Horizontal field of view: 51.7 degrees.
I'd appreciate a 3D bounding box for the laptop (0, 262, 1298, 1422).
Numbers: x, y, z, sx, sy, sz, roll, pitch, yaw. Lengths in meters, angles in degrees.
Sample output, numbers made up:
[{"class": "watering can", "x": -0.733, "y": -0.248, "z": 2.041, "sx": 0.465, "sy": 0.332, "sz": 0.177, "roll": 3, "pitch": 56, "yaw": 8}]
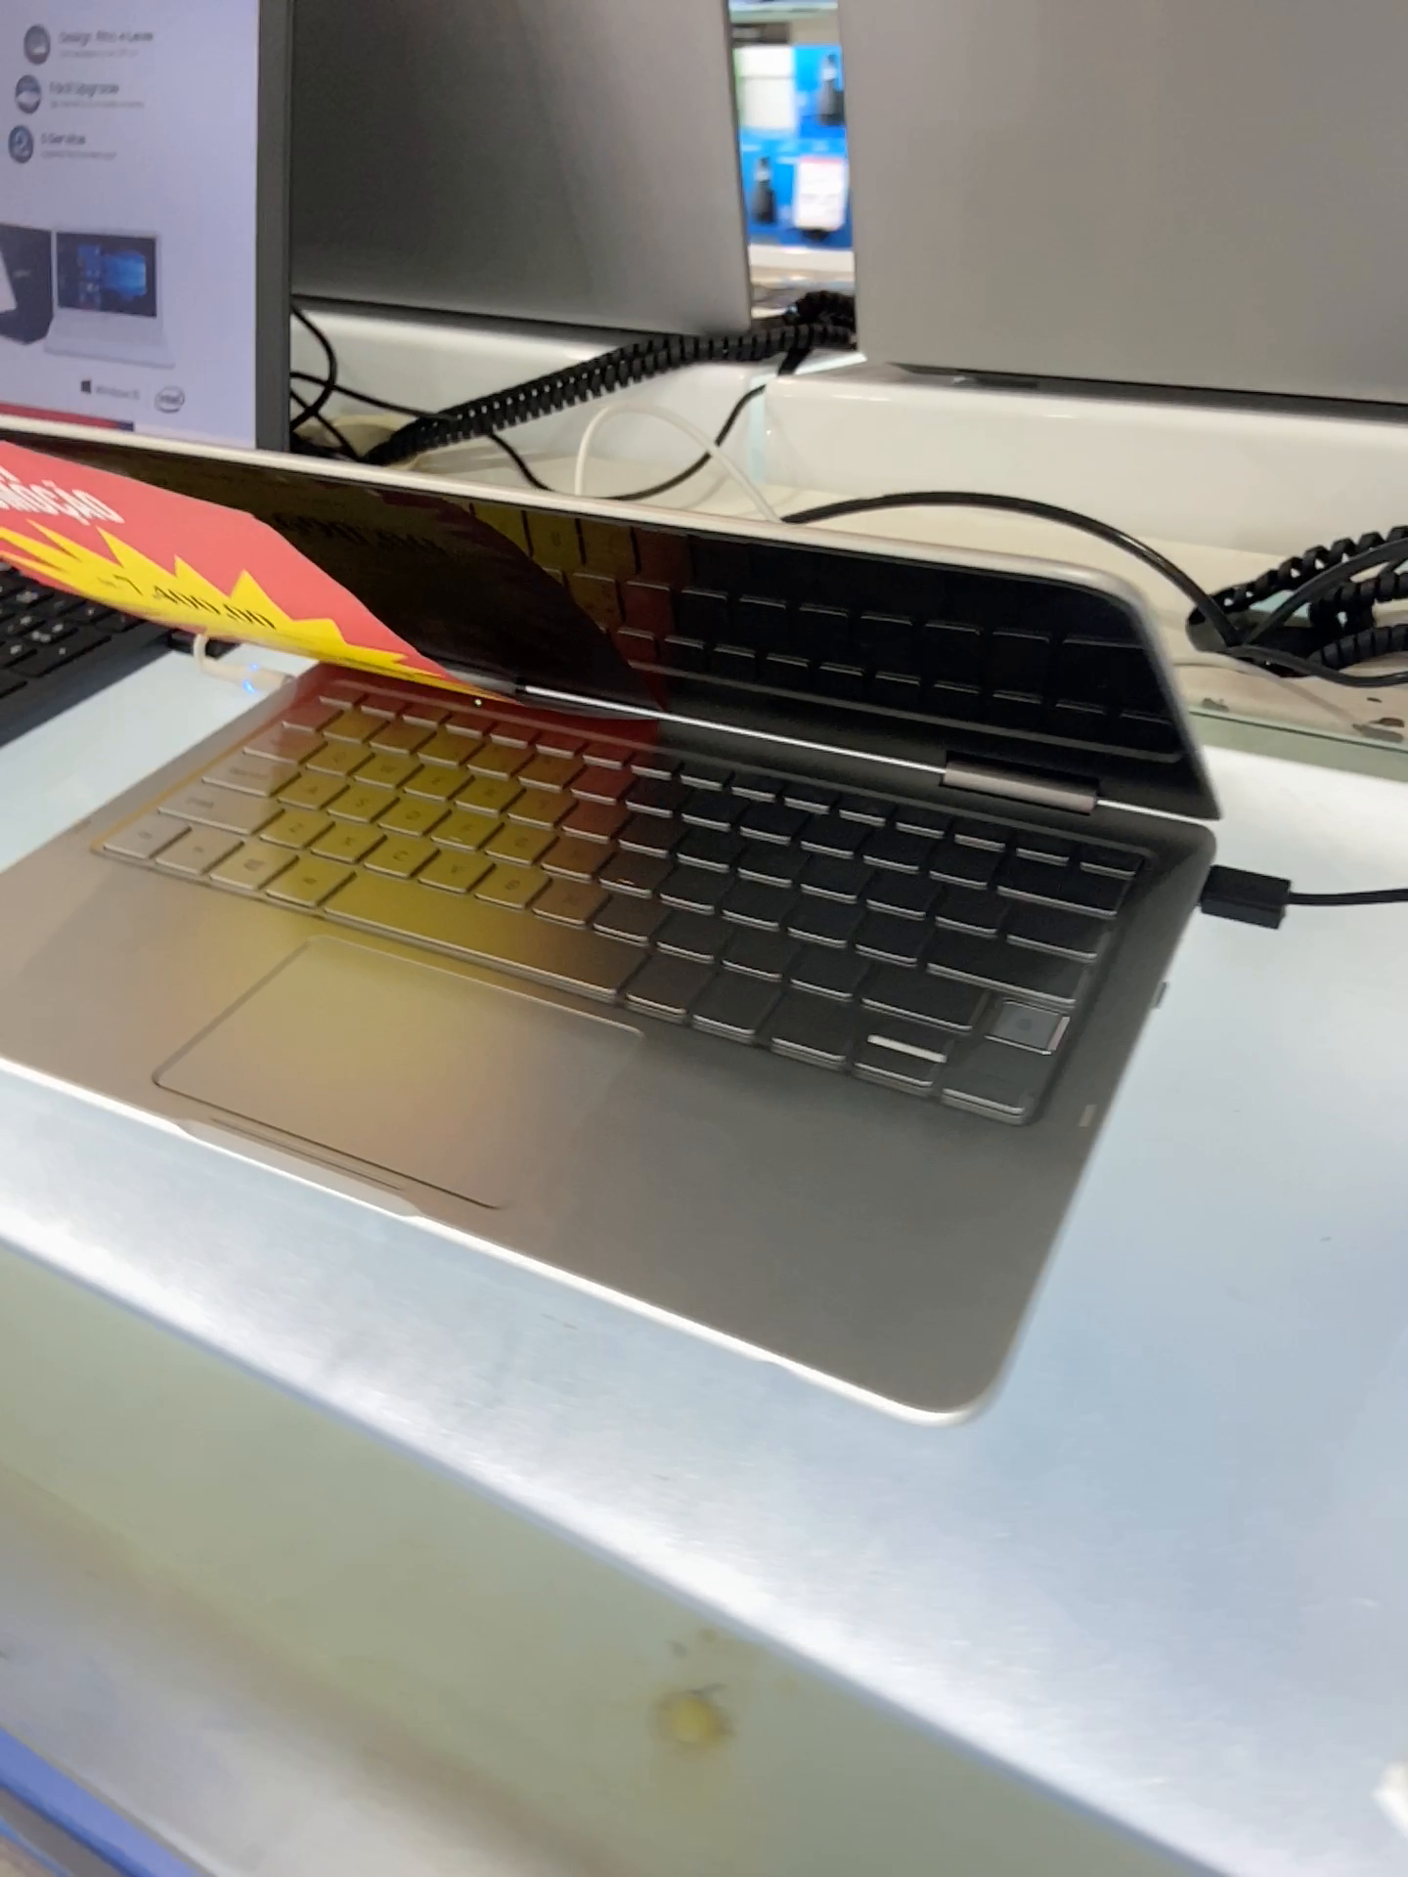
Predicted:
[{"class": "laptop", "x": -0.048, "y": -0.060, "z": 0.346, "sx": 0.306, "sy": 0.132, "sz": 0.202, "roll": 14, "pitch": 41, "yaw": 24}]
